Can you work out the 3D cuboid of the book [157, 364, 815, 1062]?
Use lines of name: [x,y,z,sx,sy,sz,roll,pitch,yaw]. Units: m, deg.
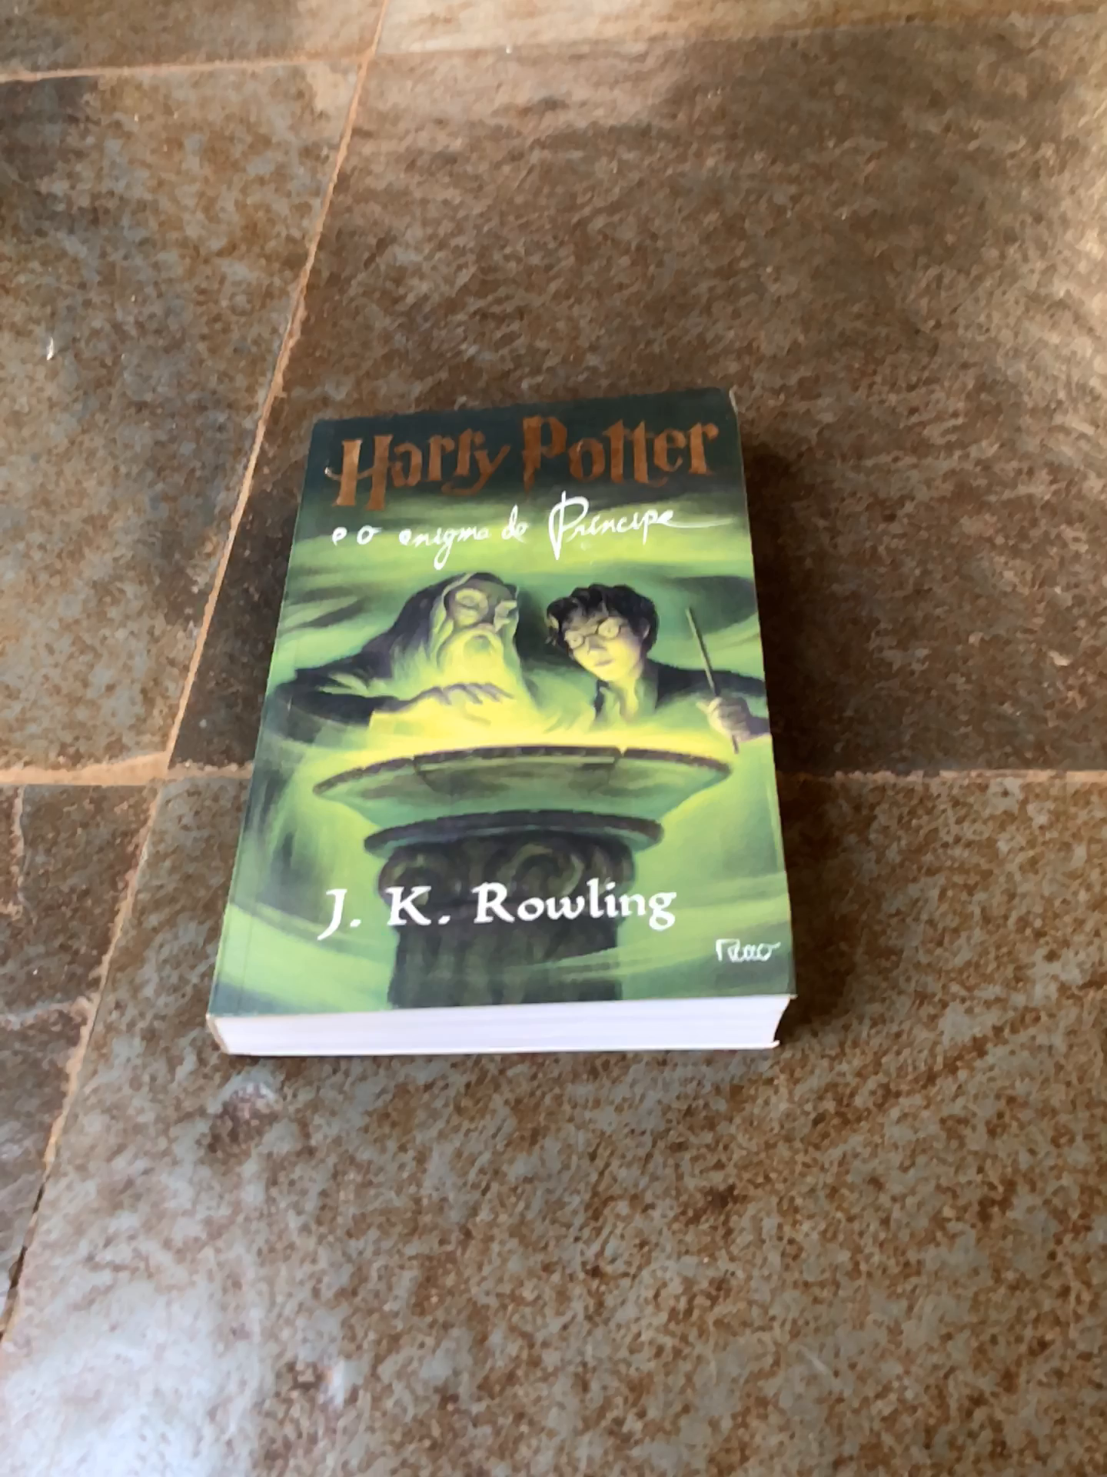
book: [-0.013,-0.017,0.330,0.142,0.030,0.201,-2,57,5]
